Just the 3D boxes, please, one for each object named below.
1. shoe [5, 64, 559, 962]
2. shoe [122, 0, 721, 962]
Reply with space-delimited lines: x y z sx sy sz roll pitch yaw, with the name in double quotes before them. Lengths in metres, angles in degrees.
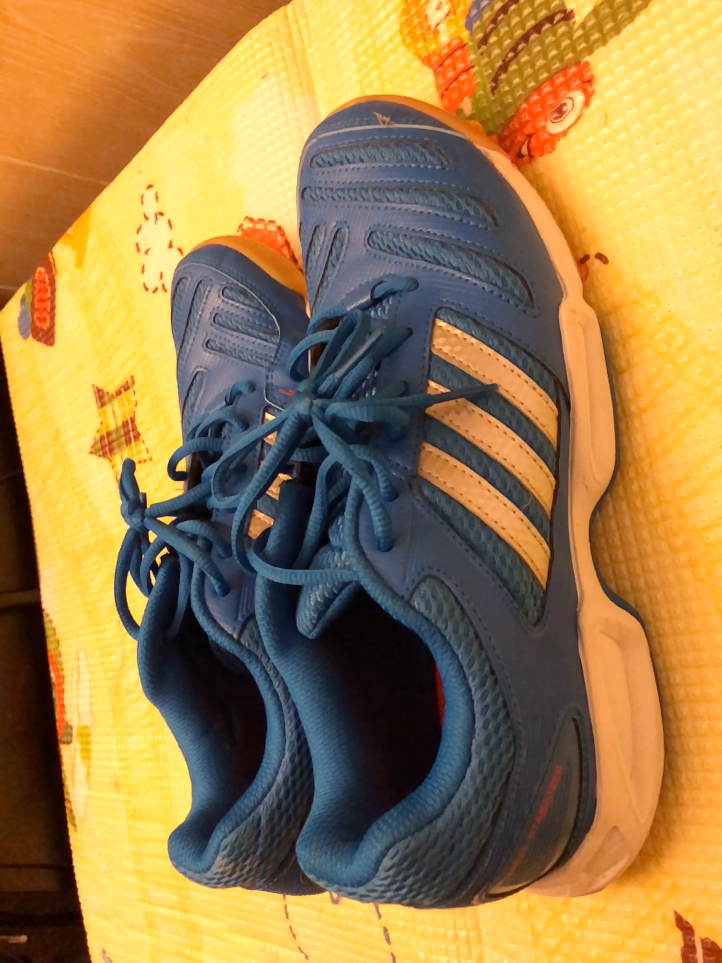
"shoe" -0.040 0.011 0.330 0.111 0.139 0.290 -24 73 45
"shoe" 0.022 -0.009 0.259 0.111 0.119 0.290 -23 74 46
